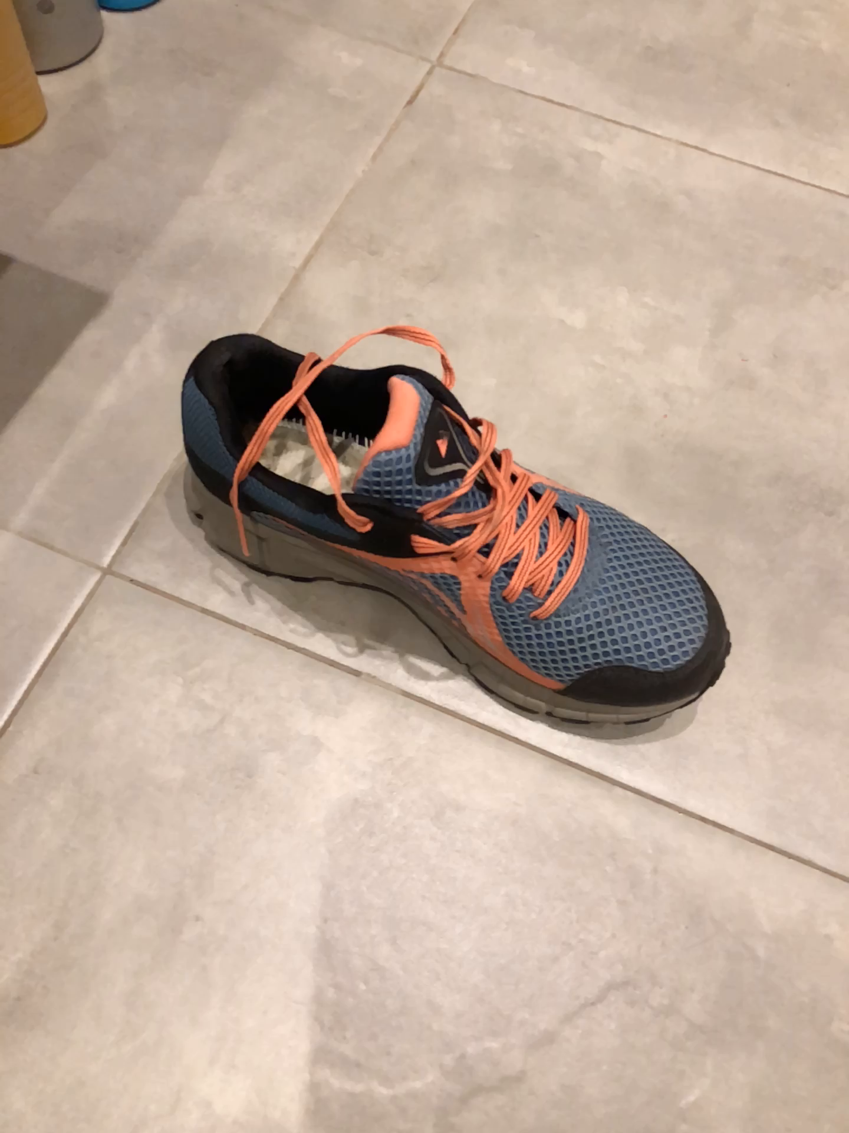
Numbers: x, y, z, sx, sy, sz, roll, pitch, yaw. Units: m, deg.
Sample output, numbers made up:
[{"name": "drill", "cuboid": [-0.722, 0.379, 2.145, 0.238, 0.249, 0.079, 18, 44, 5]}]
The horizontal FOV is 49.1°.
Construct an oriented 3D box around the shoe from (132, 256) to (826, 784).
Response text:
[{"name": "shoe", "cuboid": [0.021, -0.020, 0.404, 0.250, 0.090, 0.110, 24, 65, 8]}]
